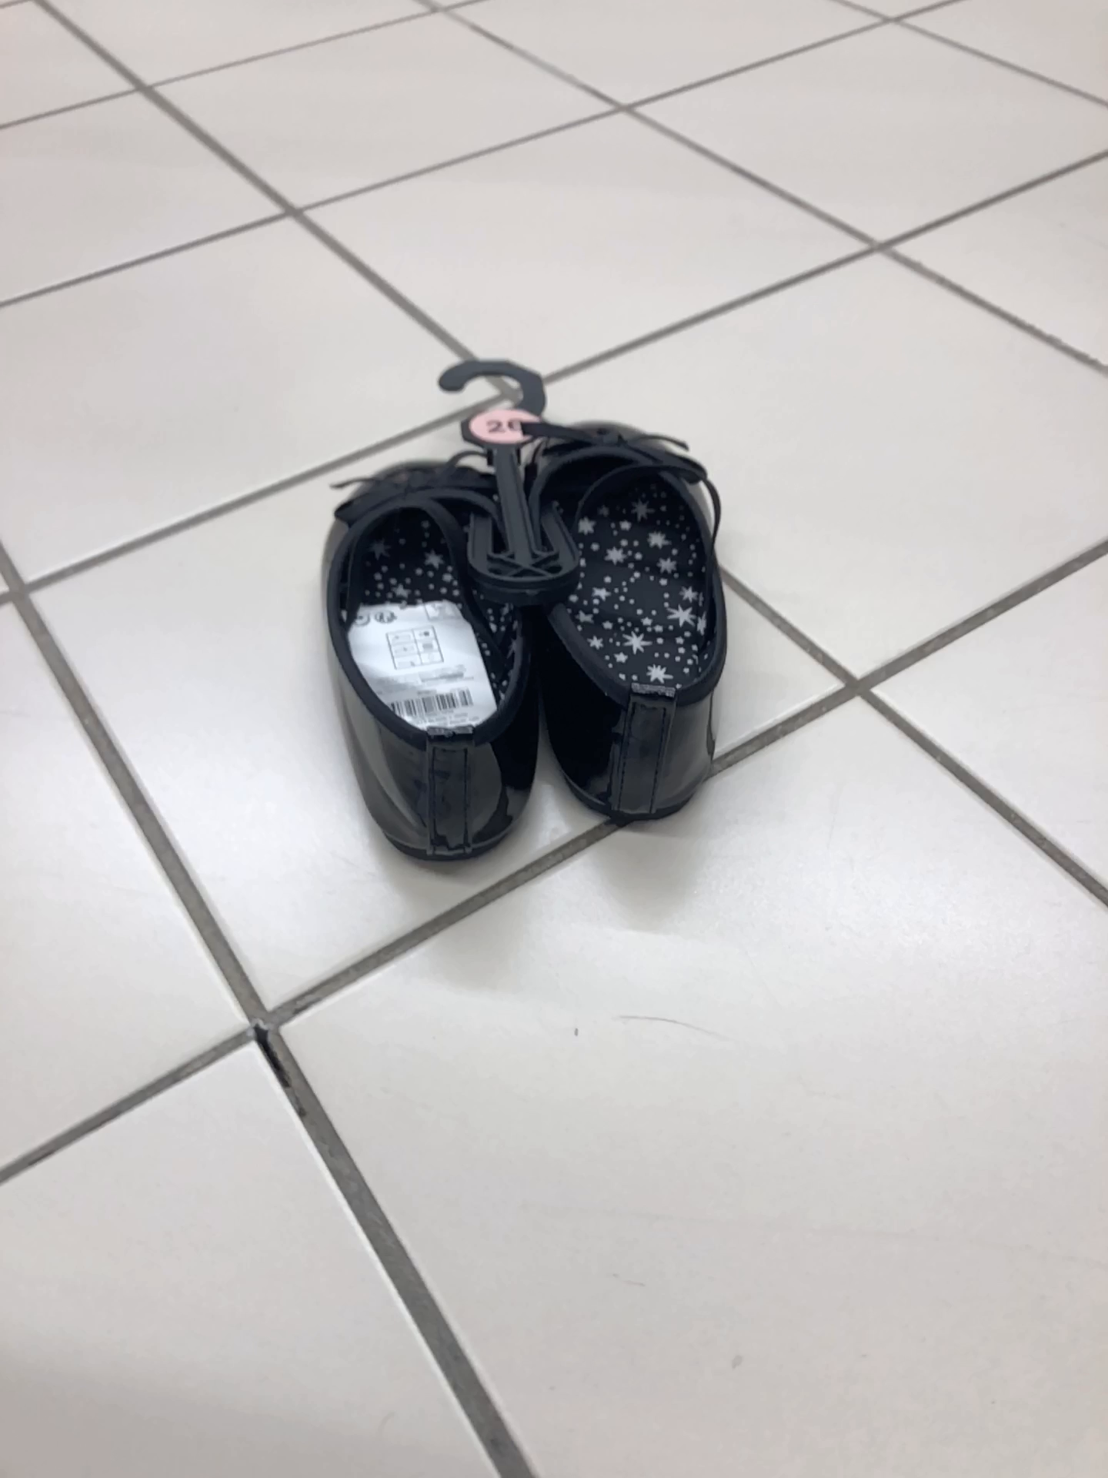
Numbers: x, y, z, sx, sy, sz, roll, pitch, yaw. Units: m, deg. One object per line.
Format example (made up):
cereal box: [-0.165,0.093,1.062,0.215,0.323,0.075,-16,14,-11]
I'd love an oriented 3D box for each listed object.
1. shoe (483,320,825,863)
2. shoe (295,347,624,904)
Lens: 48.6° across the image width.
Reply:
shoe: [0.022,-0.053,0.375,0.072,0.059,0.174,-6,48,-2]
shoe: [-0.033,-0.043,0.365,0.074,0.055,0.172,-8,48,-5]
